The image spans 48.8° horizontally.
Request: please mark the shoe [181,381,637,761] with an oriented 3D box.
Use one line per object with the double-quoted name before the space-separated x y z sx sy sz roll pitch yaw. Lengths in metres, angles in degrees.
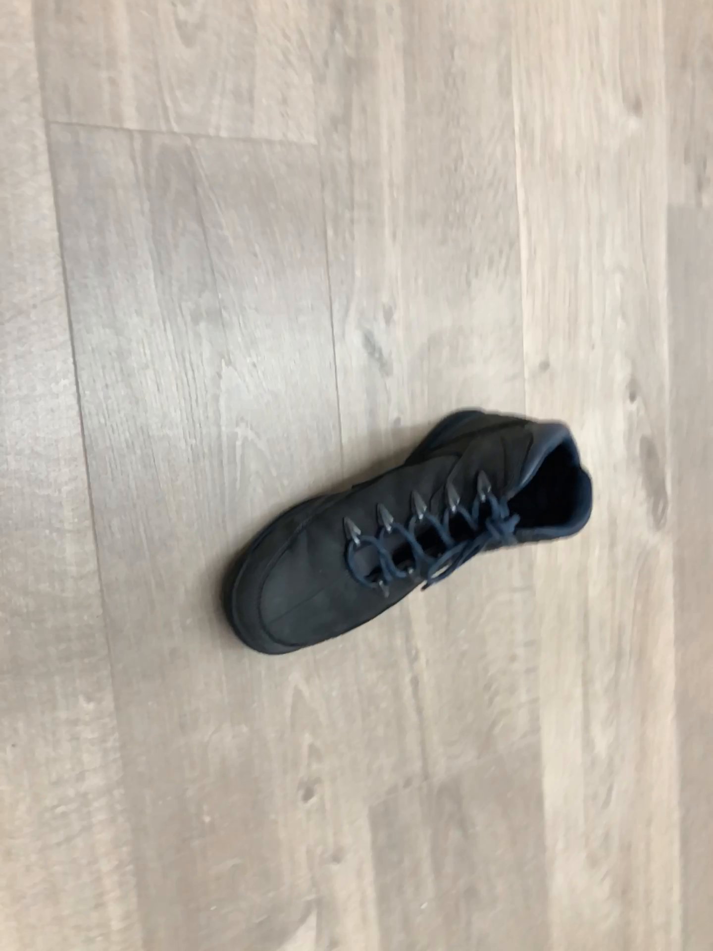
"shoe" 0.044 0.047 0.568 0.291 0.130 0.110 -32 110 -24
